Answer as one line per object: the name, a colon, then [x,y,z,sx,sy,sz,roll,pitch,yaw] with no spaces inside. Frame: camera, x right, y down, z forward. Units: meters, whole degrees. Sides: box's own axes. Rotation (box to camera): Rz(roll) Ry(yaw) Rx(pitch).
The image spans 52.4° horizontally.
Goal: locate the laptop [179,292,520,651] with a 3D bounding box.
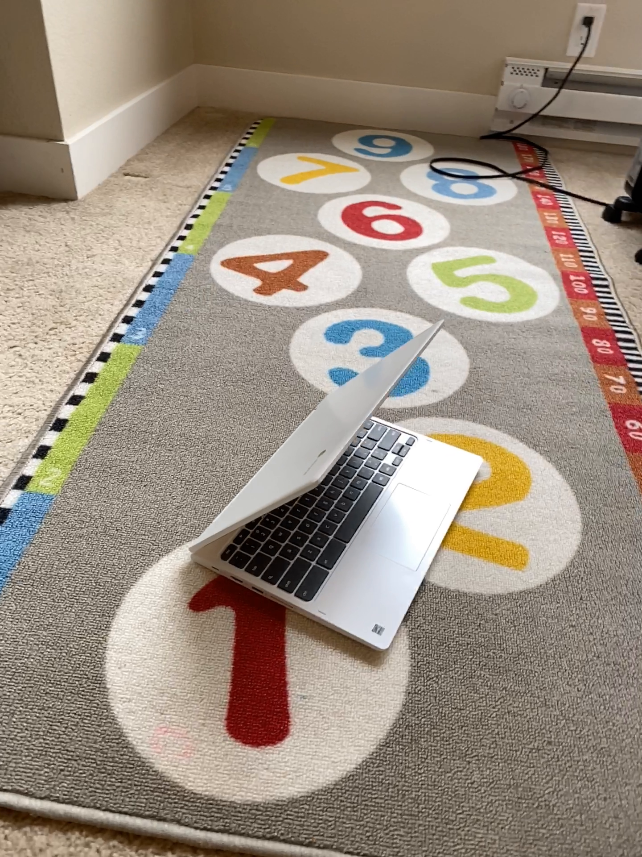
laptop: [0.040,0.019,0.672,0.216,0.162,0.300,21,41,19]
